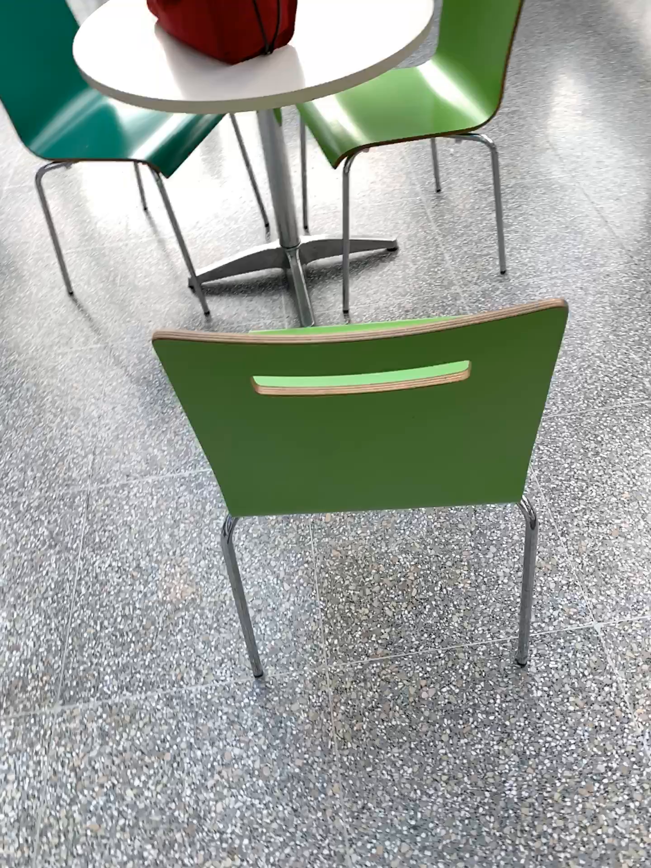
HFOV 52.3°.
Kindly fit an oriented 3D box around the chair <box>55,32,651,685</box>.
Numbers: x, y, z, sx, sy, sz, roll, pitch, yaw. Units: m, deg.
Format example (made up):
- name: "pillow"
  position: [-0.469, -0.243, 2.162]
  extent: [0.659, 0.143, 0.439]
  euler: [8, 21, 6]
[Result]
- name: "chair"
  position: [0.080, -0.038, 1.030]
  extent: [0.540, 0.833, 0.535]
  euler: [-4, 50, 4]
